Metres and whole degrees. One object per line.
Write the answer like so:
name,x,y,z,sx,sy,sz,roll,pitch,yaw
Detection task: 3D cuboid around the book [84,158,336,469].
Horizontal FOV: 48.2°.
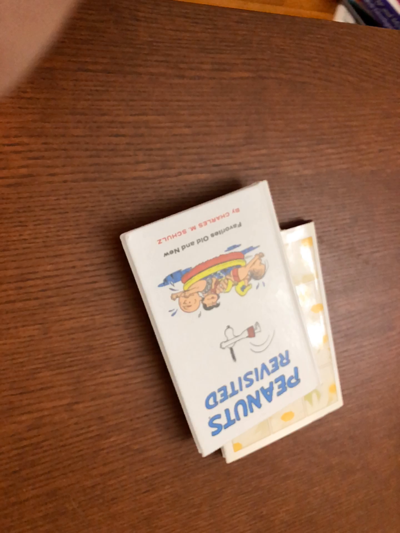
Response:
book,0.021,0.037,0.377,0.160,0.020,0.210,-25,105,-21
